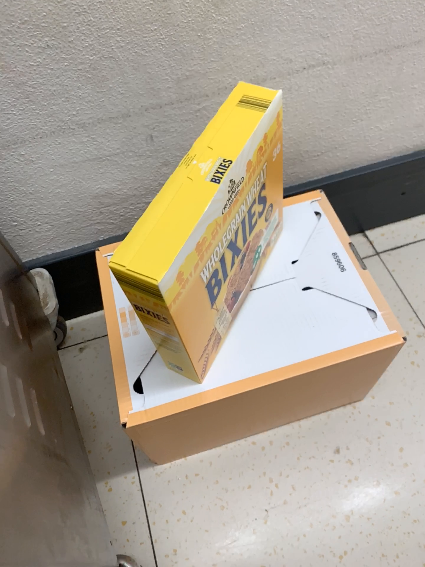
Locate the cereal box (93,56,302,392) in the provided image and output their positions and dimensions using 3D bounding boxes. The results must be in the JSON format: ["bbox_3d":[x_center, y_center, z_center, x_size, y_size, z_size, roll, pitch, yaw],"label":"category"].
[{"bbox_3d":[0.008,-0.056,0.530,0.070,0.278,0.291,22,62,17],"label":"cereal box"}]
